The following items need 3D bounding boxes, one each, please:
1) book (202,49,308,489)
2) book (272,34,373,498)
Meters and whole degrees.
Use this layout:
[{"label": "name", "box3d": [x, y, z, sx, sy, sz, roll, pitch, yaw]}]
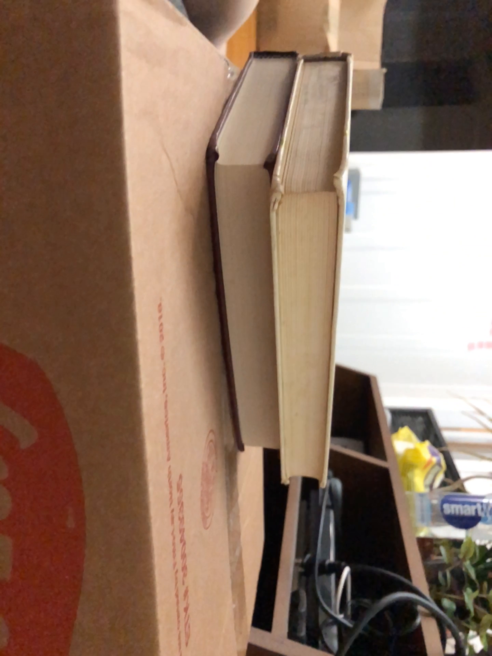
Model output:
[{"label": "book", "box3d": [0.016, -0.037, 0.389, 0.180, 0.040, 0.250, -80, 170, -49]}, {"label": "book", "box3d": [0.046, -0.033, 0.369, 0.180, 0.040, 0.250, -81, 171, -46]}]
